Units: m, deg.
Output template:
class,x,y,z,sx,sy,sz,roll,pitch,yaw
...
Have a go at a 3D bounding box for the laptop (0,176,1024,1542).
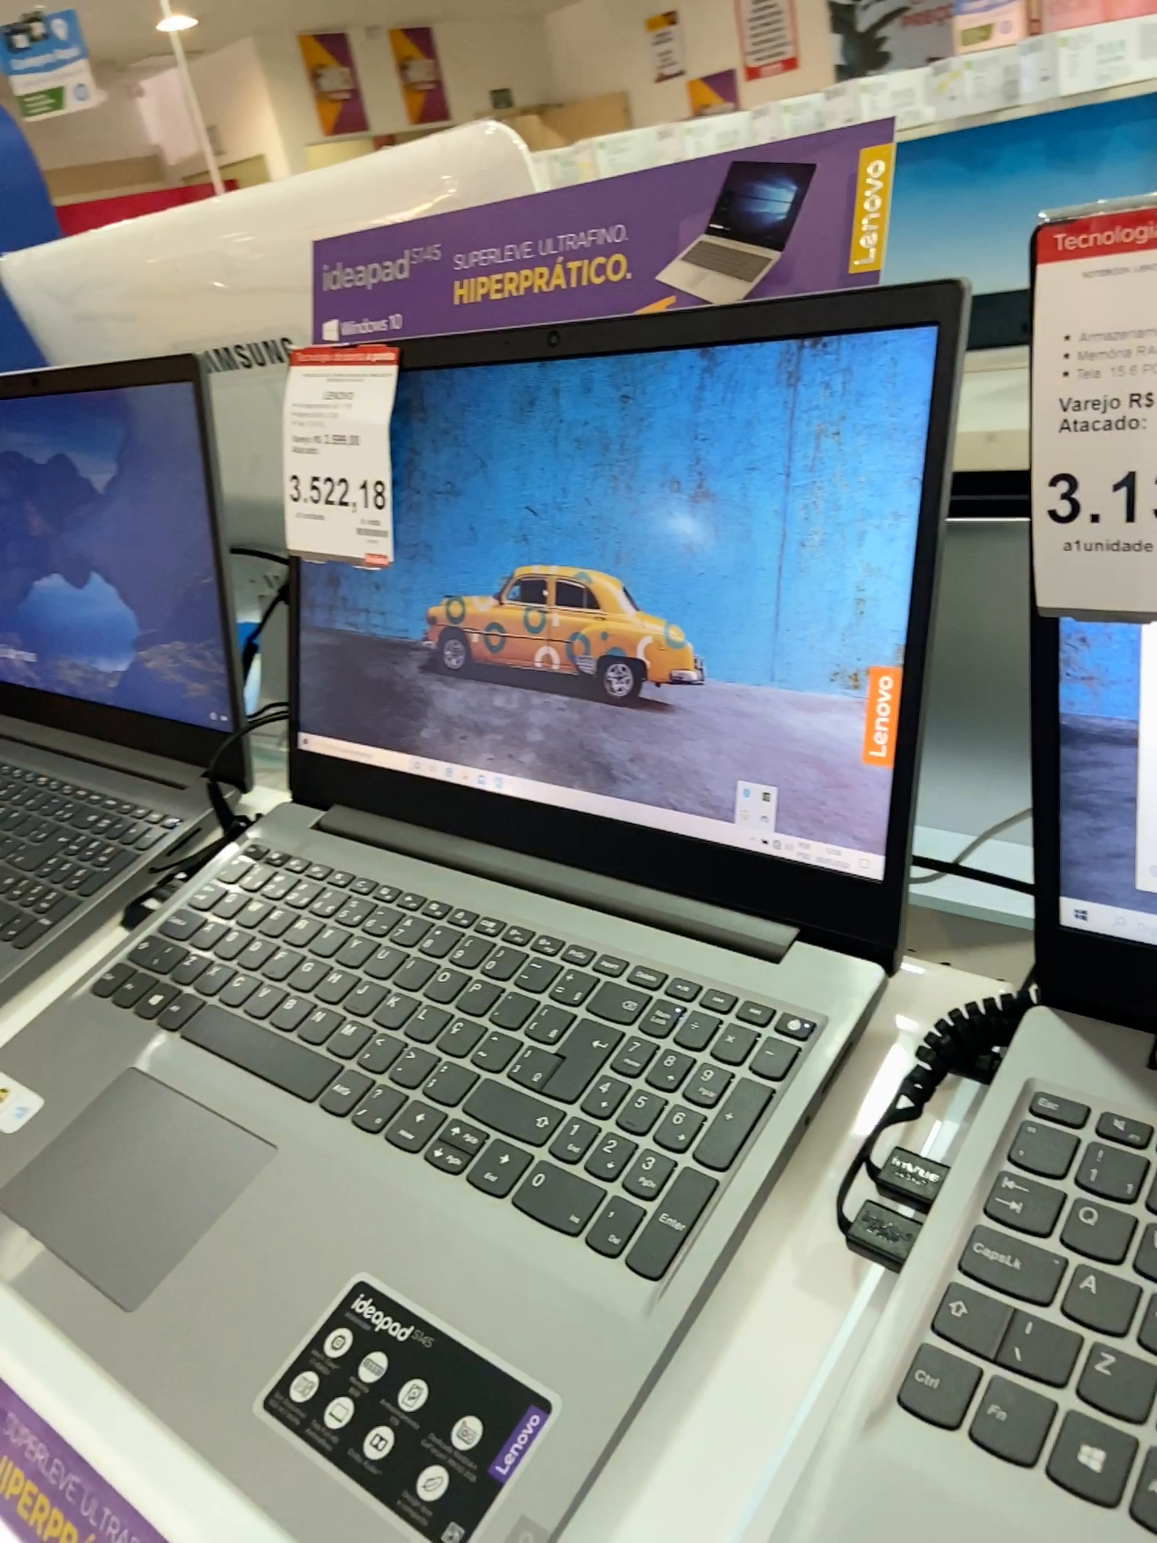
class,x,y,z,sx,sy,sz,roll,pitch,yaw
laptop,-0.078,-0.017,0.444,0.347,0.209,0.366,10,41,39
